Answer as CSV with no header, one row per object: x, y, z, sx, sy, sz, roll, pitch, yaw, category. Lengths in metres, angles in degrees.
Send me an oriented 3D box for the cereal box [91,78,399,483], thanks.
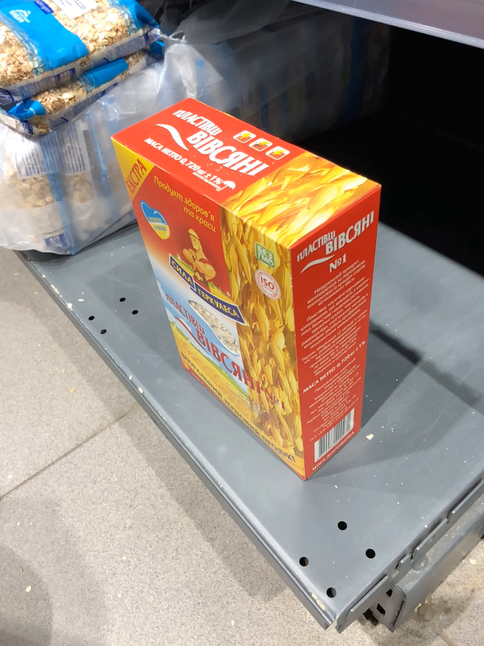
0.003,-0.022,0.349,0.070,0.208,0.161,-35,52,-23,cereal box
